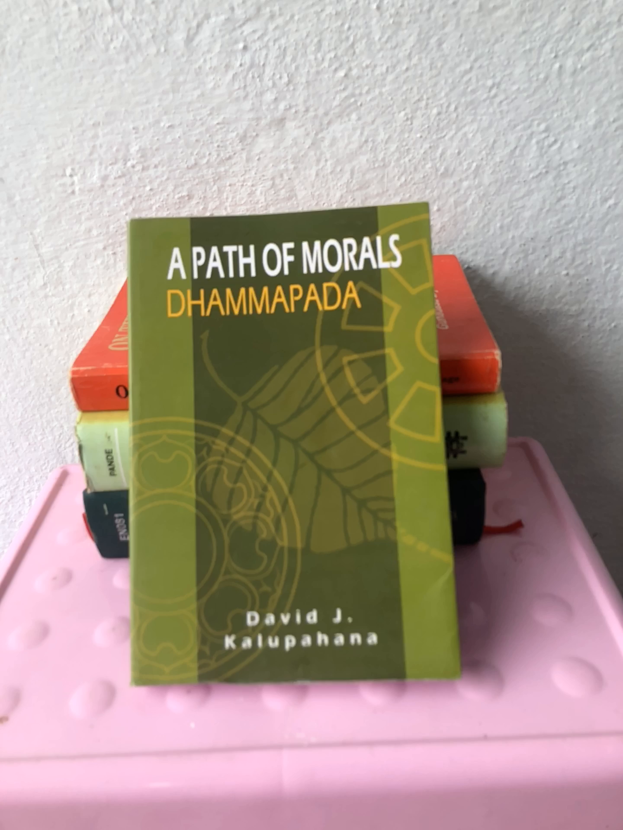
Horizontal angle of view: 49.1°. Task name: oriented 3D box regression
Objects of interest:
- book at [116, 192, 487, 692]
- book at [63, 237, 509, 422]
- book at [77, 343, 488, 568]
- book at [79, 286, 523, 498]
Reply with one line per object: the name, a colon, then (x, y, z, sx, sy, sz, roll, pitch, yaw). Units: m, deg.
book: (-0.007, 0.009, 0.311, 0.150, 0.210, 0.040, -2, -9, 2)
book: (-0.011, -0.057, 0.395, 0.210, 0.030, 0.161, -4, 30, 4)
book: (-0.011, 0.017, 0.426, 0.210, 0.050, 0.161, -3, 30, 5)
book: (-0.003, -0.022, 0.400, 0.210, 0.040, 0.161, -4, 30, 3)
